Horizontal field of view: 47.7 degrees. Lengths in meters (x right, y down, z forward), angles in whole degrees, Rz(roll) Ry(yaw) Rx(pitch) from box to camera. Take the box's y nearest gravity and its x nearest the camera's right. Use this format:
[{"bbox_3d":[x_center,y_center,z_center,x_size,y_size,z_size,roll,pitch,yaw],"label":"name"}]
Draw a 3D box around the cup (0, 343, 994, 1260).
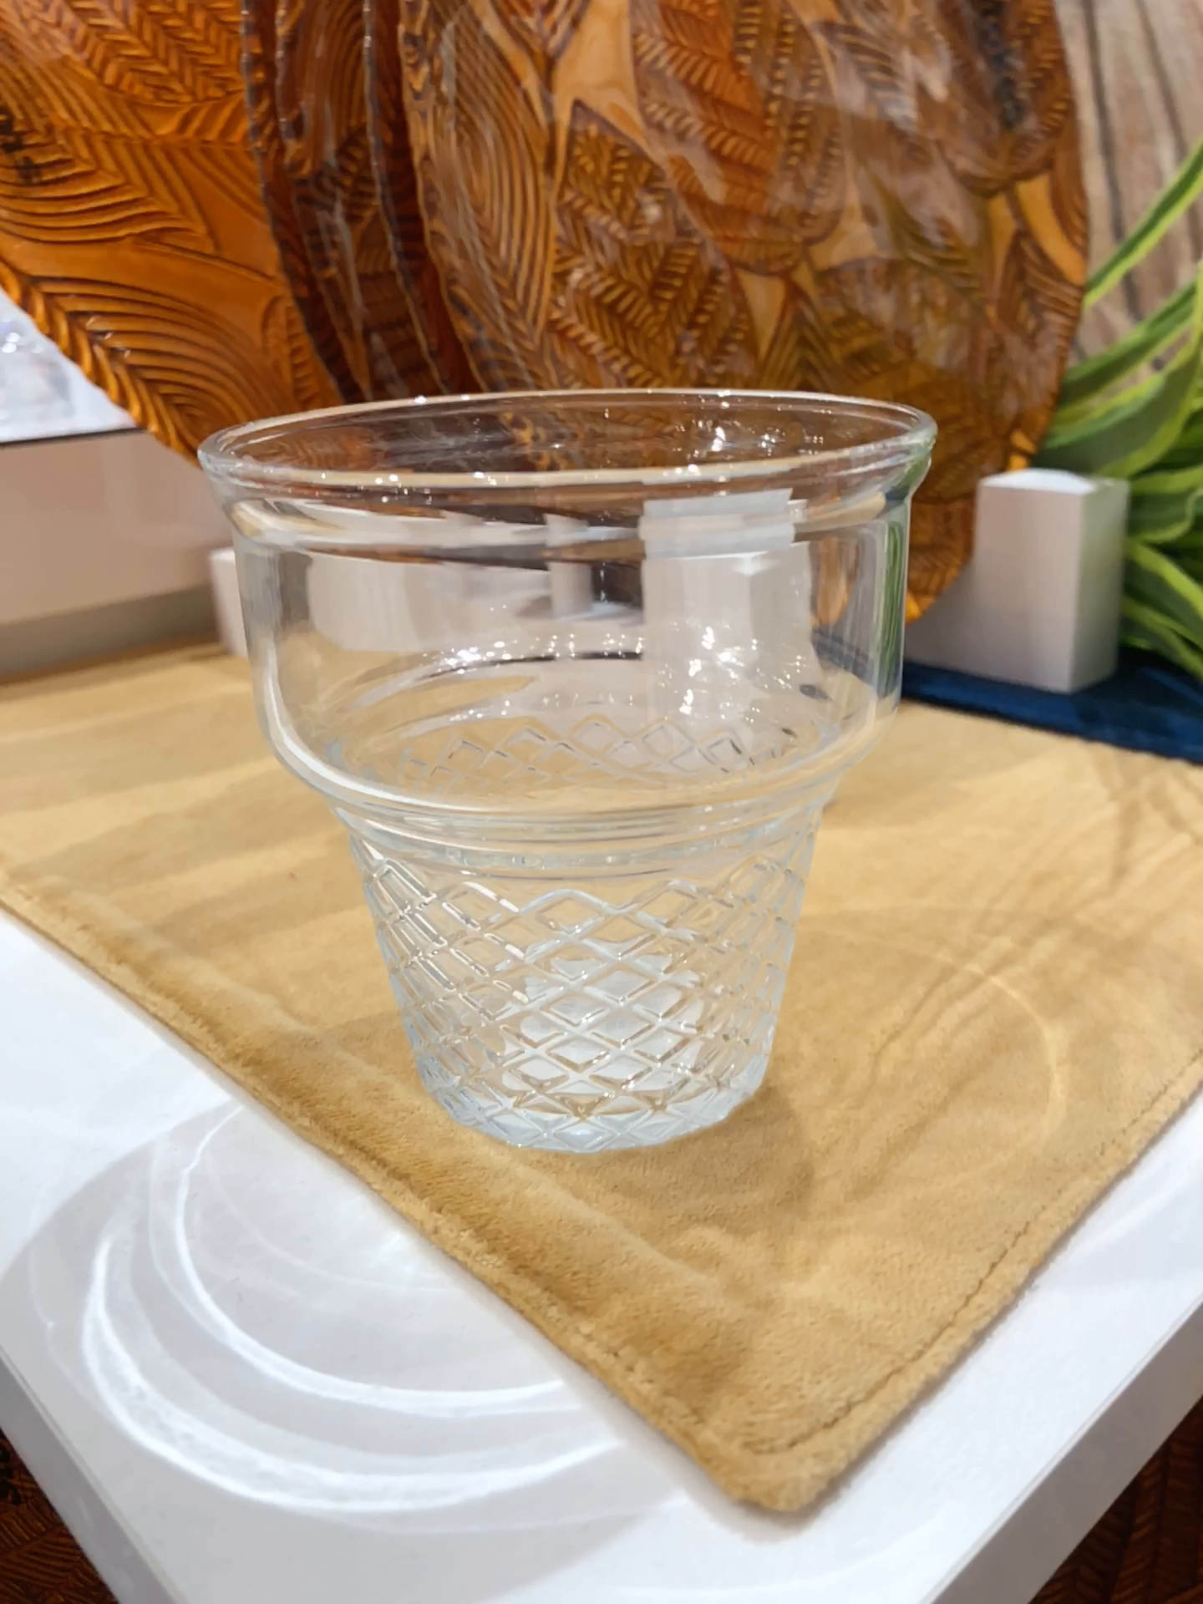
[{"bbox_3d":[-0.004,-0.011,0.153,0.080,0.070,0.080,-3,20,1],"label":"cup"}]
